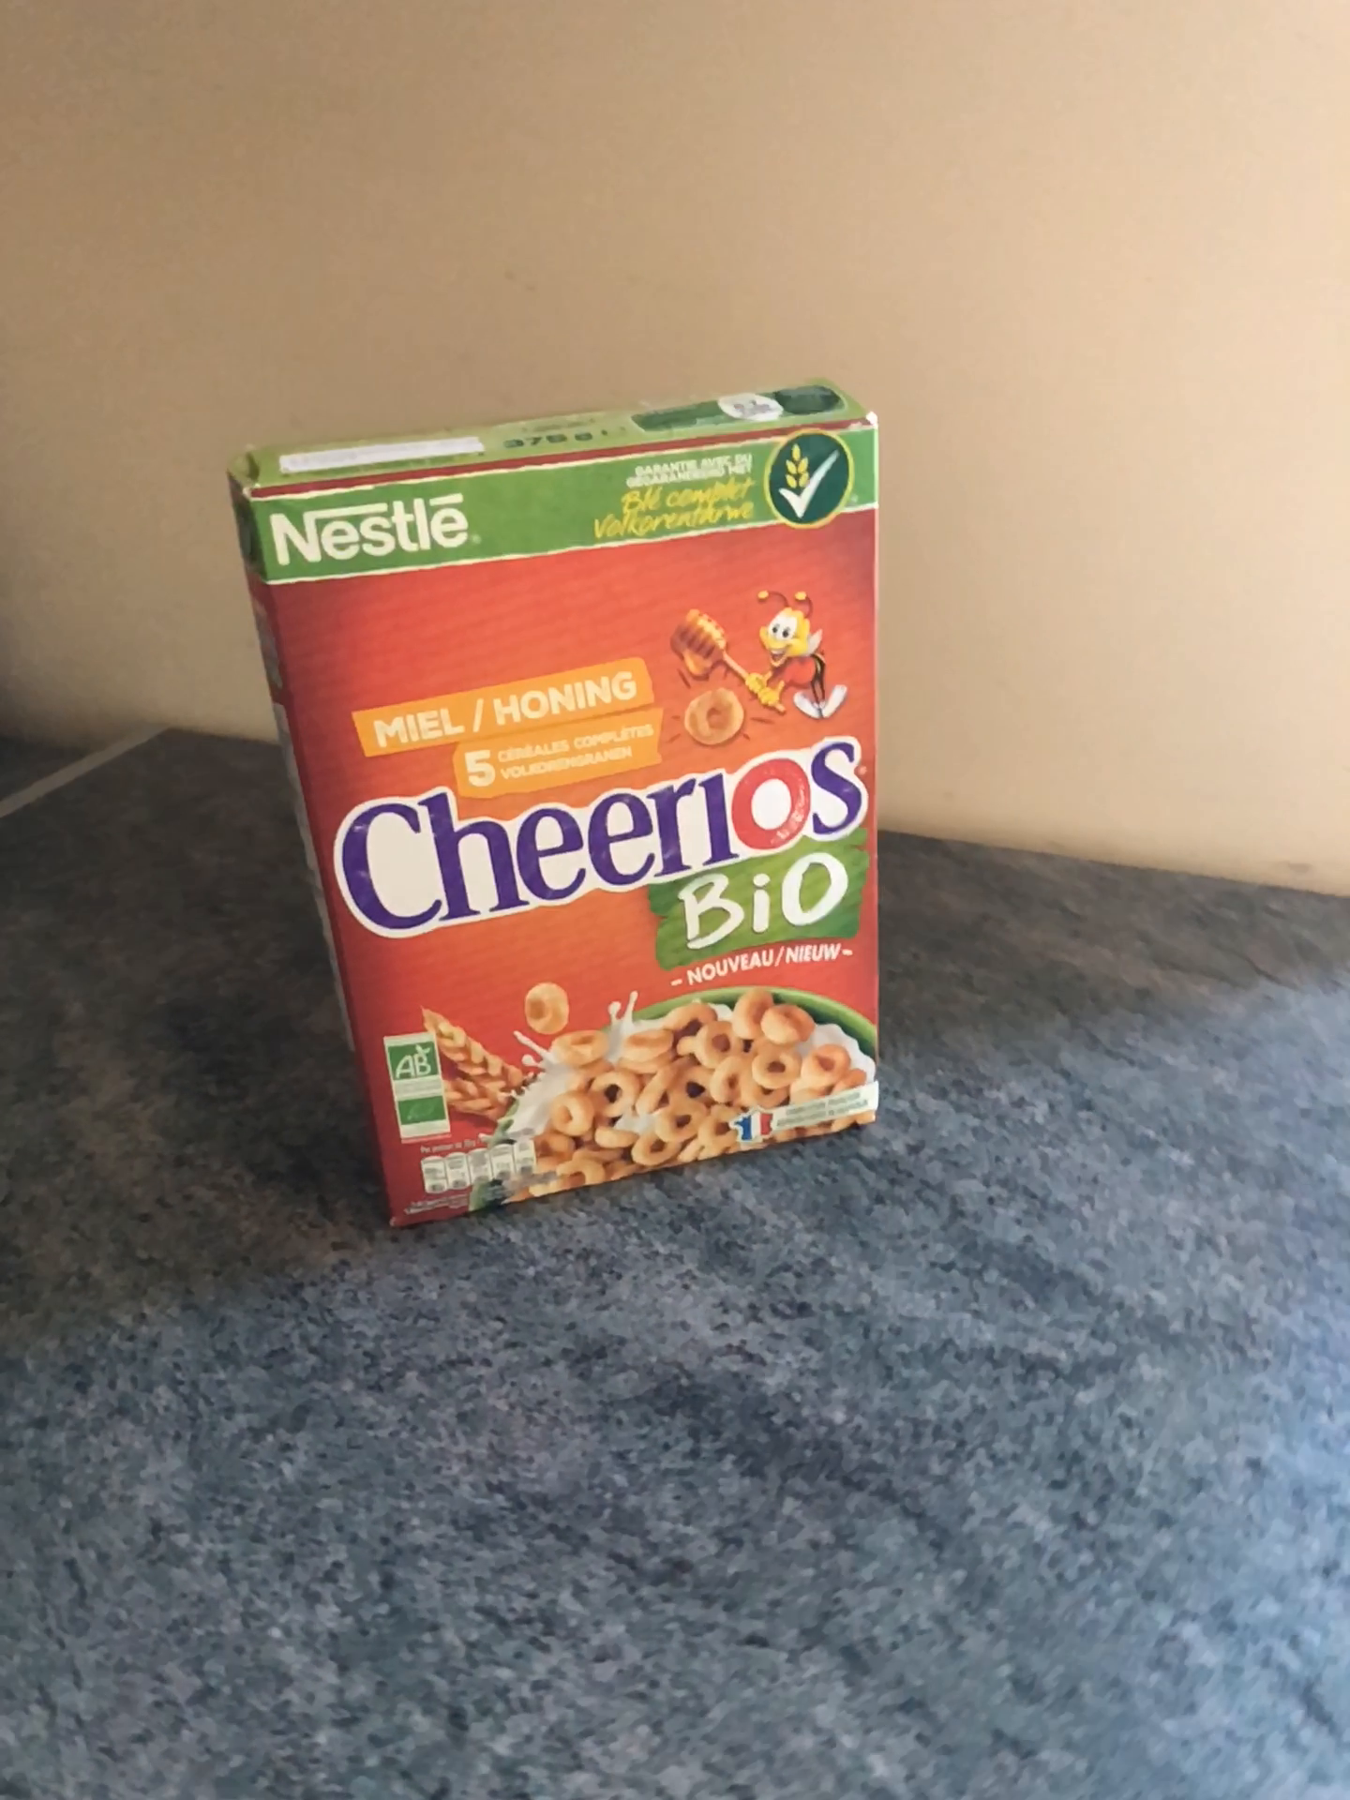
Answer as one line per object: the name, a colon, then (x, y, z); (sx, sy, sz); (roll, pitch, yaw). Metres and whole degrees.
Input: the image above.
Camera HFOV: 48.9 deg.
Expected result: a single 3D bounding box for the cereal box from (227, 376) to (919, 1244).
cereal box: (-0.025, -0.030, 0.513); (0.200, 0.259, 0.080); (-10, 27, -11)
